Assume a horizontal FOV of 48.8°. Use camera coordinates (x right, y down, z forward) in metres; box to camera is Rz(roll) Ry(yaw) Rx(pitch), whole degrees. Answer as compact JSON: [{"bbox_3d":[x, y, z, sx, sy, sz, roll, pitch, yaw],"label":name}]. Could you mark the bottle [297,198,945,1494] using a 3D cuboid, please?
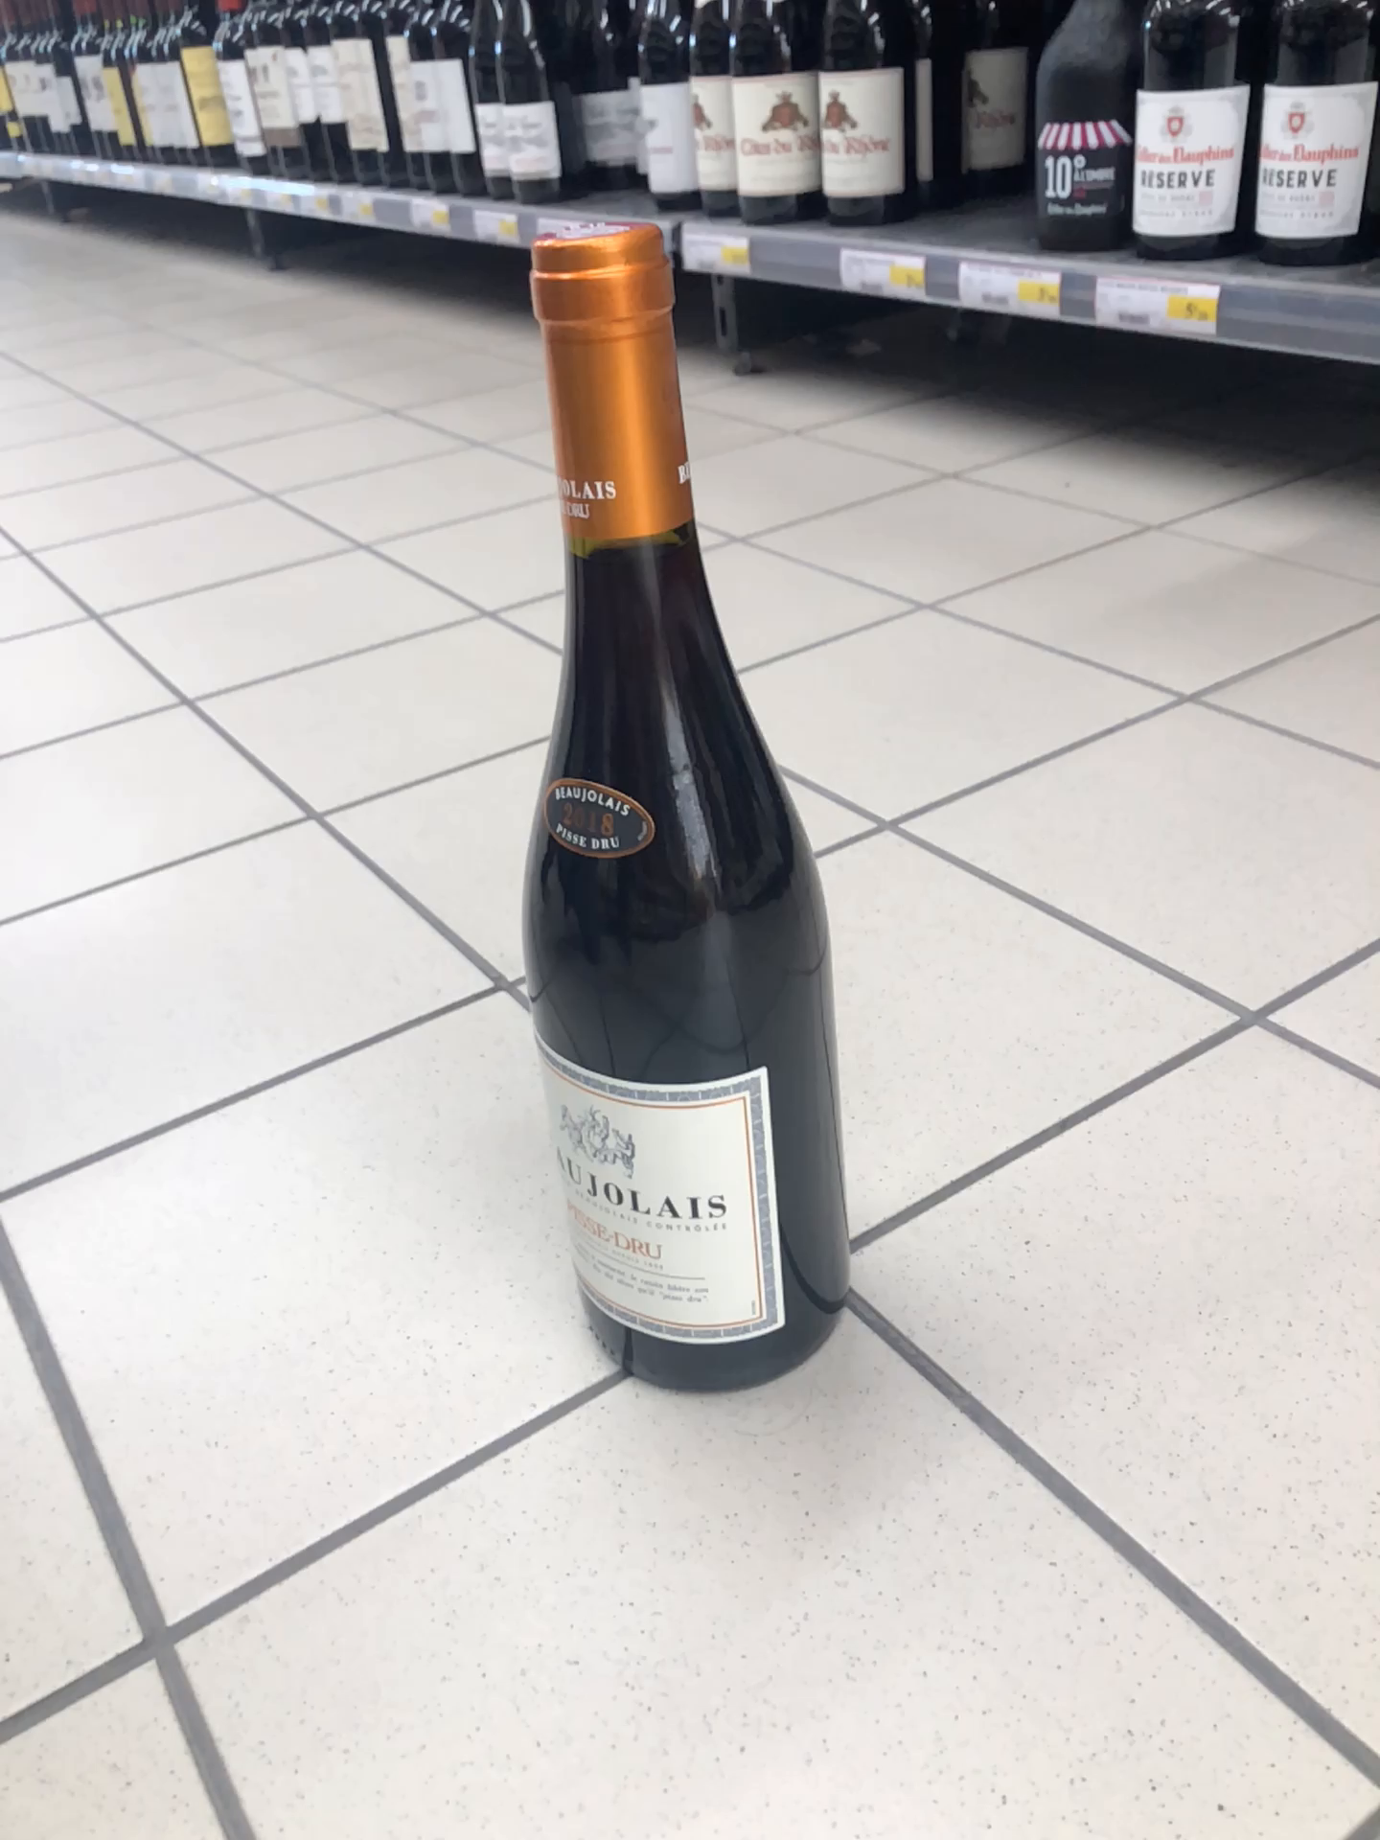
[{"bbox_3d":[-0.003,-0.011,0.370,0.090,0.288,0.090,-4,30,2],"label":"bottle"}]
